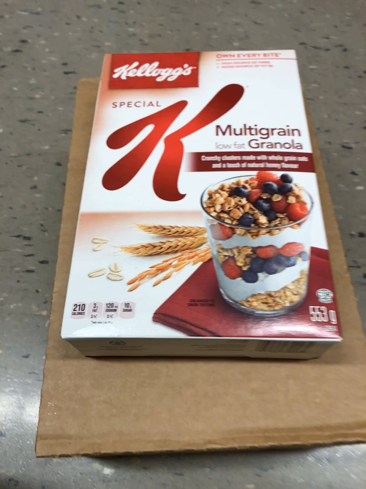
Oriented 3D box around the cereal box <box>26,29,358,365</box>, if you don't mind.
[{"bbox_3d":[0.003,-0.052,0.310,0.180,0.050,0.270,2,60,-5],"label":"cereal box"}]
